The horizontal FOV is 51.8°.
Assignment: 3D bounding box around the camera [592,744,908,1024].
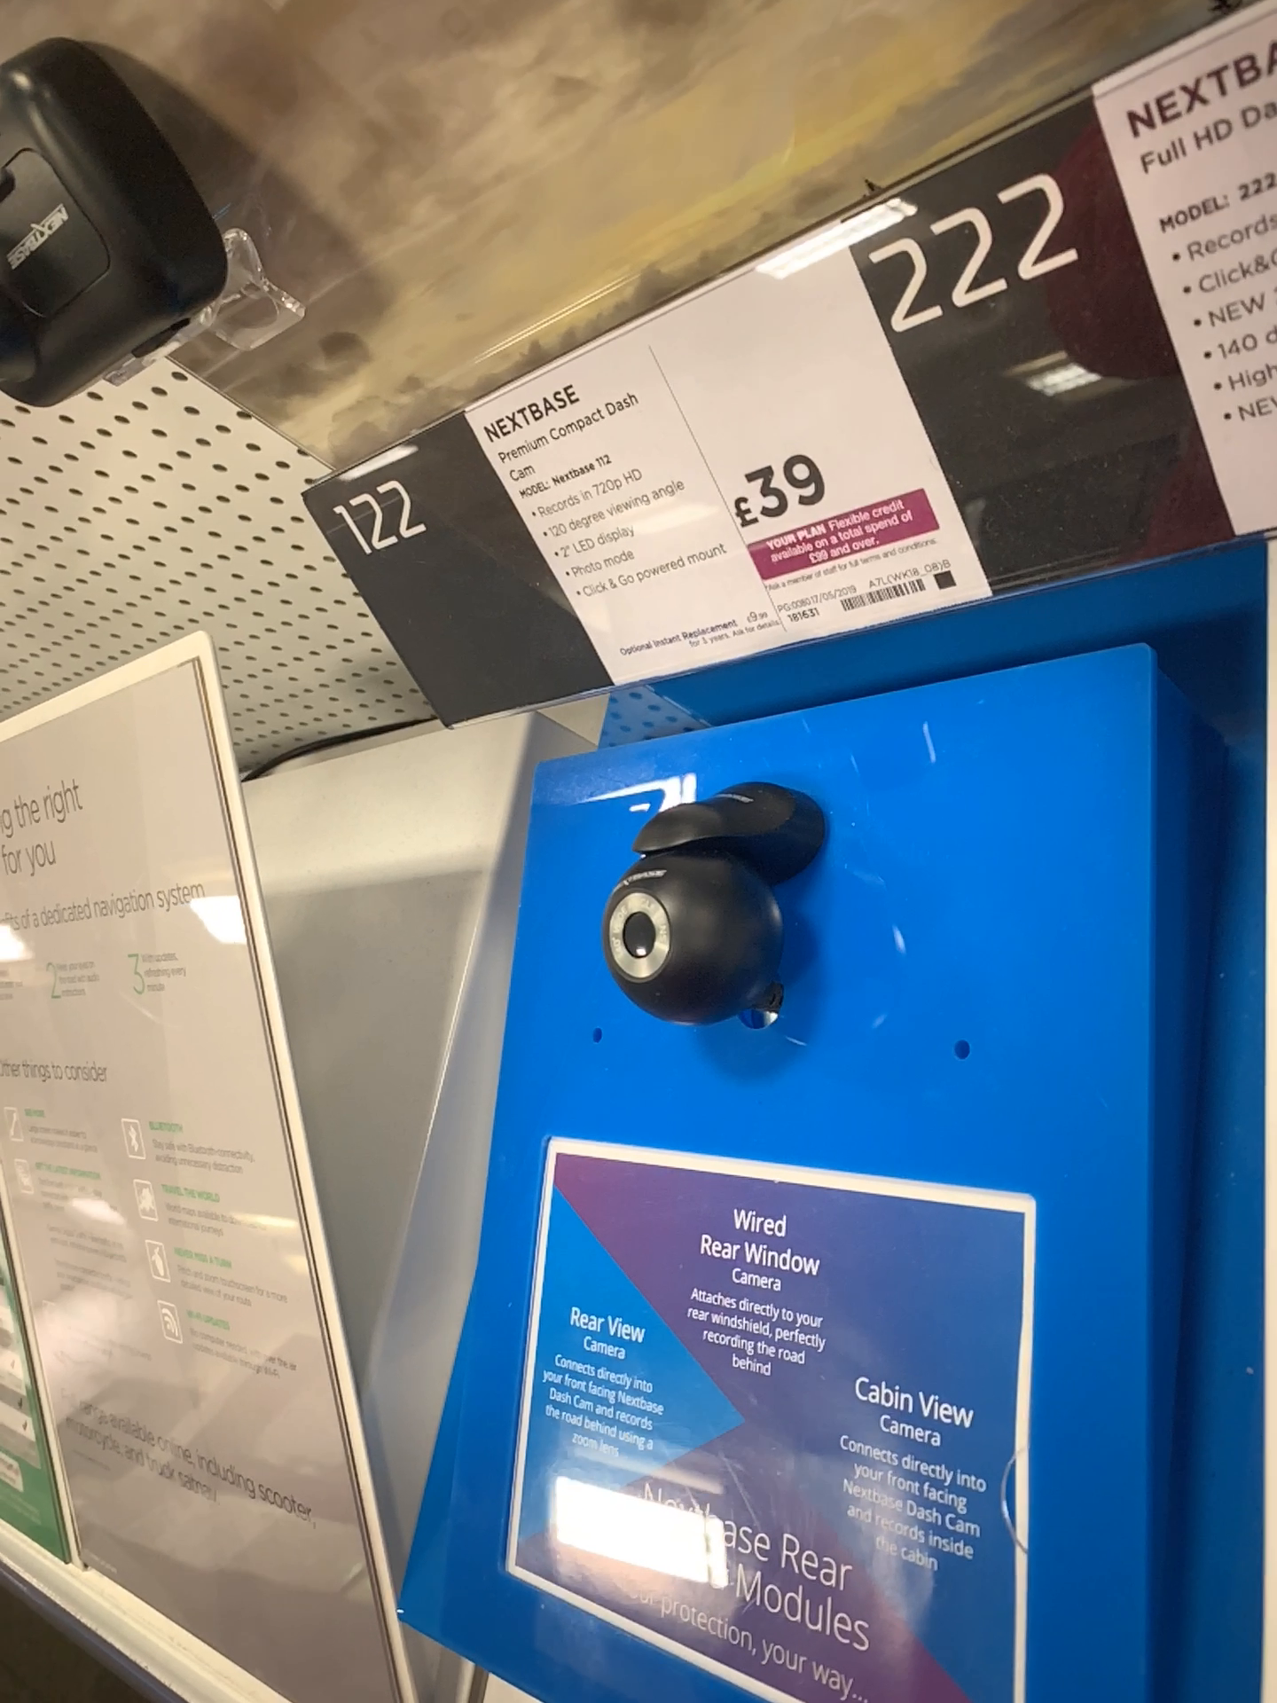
[{"bbox_3d":[0.023,0.009,0.266,0.040,0.050,0.050,-7,79,45],"label":"camera"}]
